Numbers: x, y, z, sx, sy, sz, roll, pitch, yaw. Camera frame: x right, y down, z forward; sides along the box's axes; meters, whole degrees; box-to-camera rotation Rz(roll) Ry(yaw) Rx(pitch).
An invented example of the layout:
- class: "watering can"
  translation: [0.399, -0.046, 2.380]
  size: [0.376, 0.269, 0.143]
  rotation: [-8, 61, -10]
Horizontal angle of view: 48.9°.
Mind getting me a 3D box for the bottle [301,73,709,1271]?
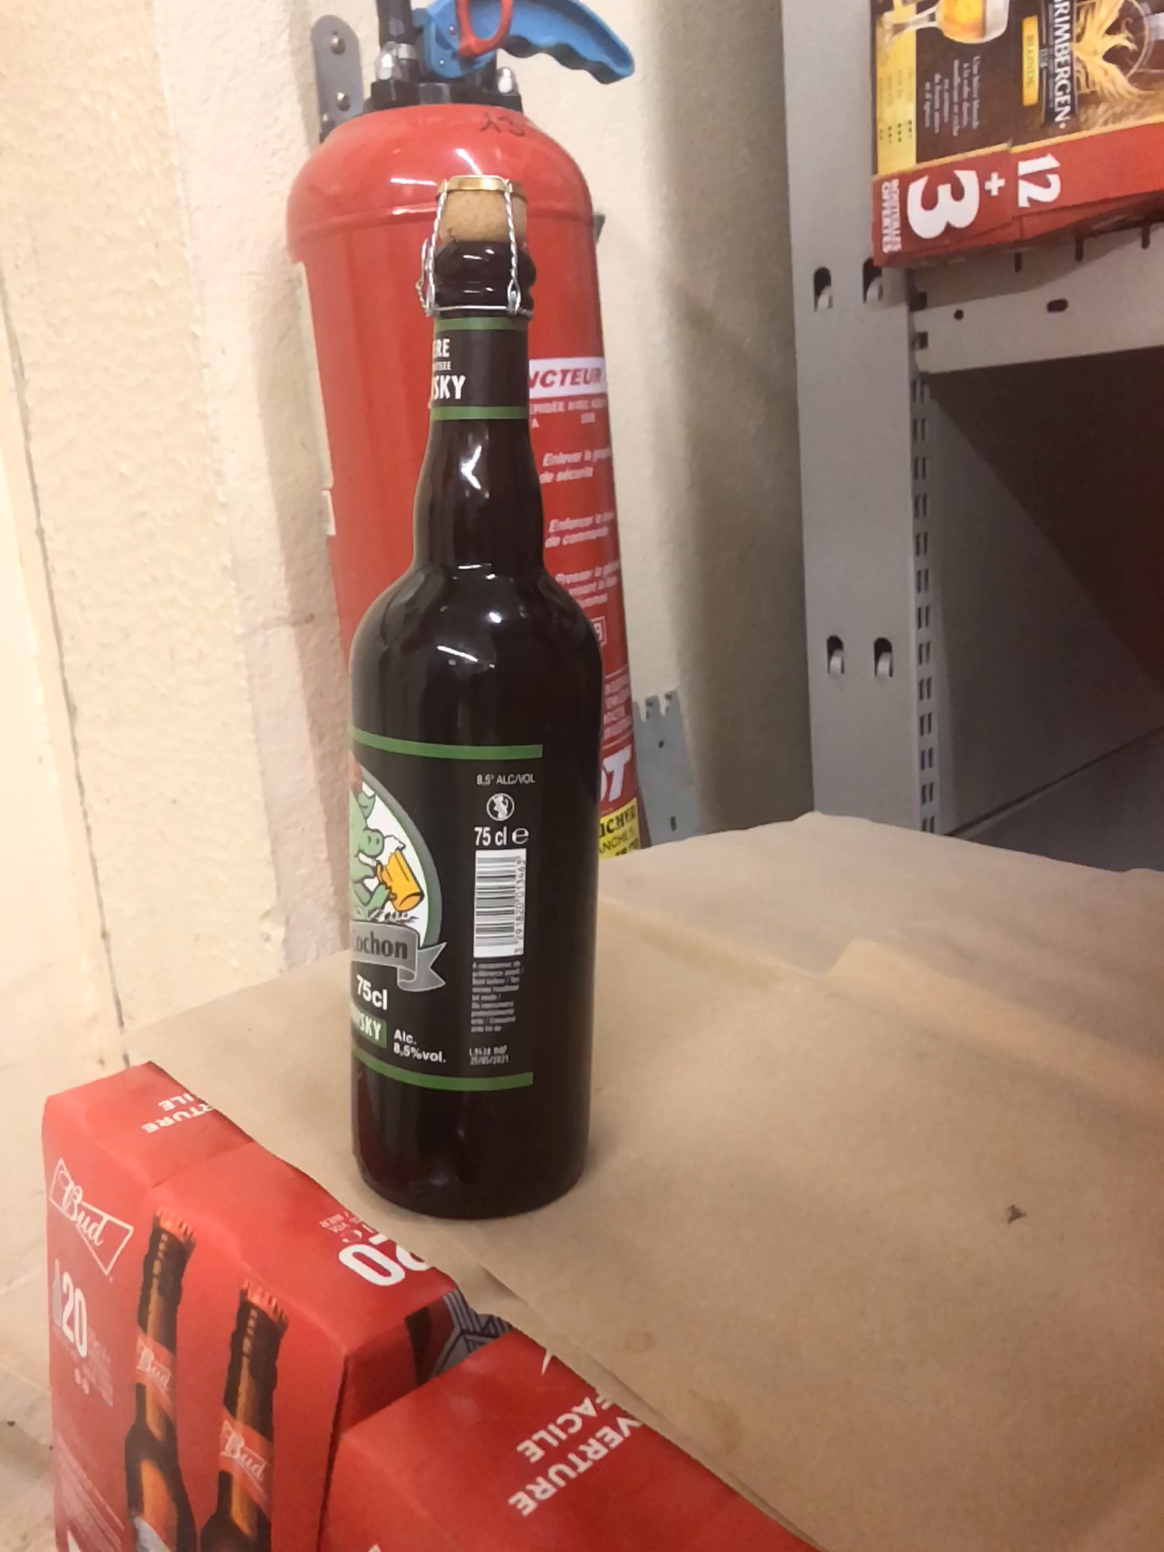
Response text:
- class: "bottle"
  translation: [-0.029, -0.025, 0.378]
  size: [0.080, 0.299, 0.090]
  rotation: [-4, 11, -31]
